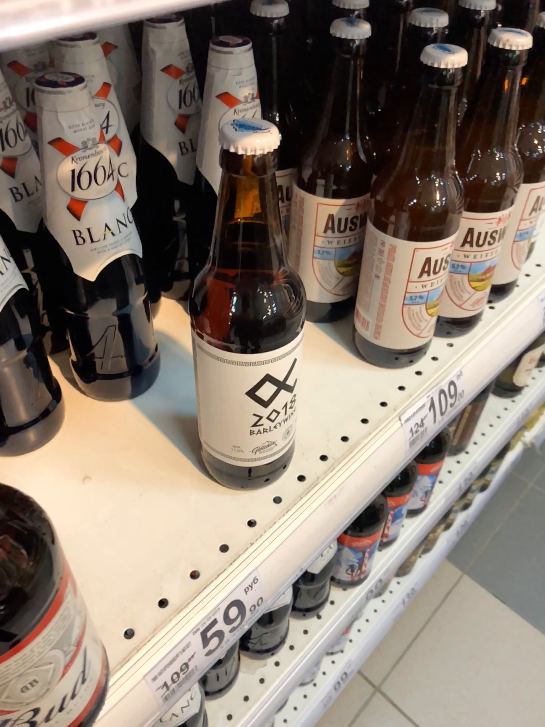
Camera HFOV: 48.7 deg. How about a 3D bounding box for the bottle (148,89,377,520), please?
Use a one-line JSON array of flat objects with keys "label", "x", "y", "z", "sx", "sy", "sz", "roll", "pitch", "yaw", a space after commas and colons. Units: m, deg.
[{"label": "bottle", "x": -0.010, "y": -0.018, "z": 0.367, "sx": 0.080, "sy": 0.252, "sz": 0.070, "roll": -29, "pitch": 53, "yaw": -28}]
